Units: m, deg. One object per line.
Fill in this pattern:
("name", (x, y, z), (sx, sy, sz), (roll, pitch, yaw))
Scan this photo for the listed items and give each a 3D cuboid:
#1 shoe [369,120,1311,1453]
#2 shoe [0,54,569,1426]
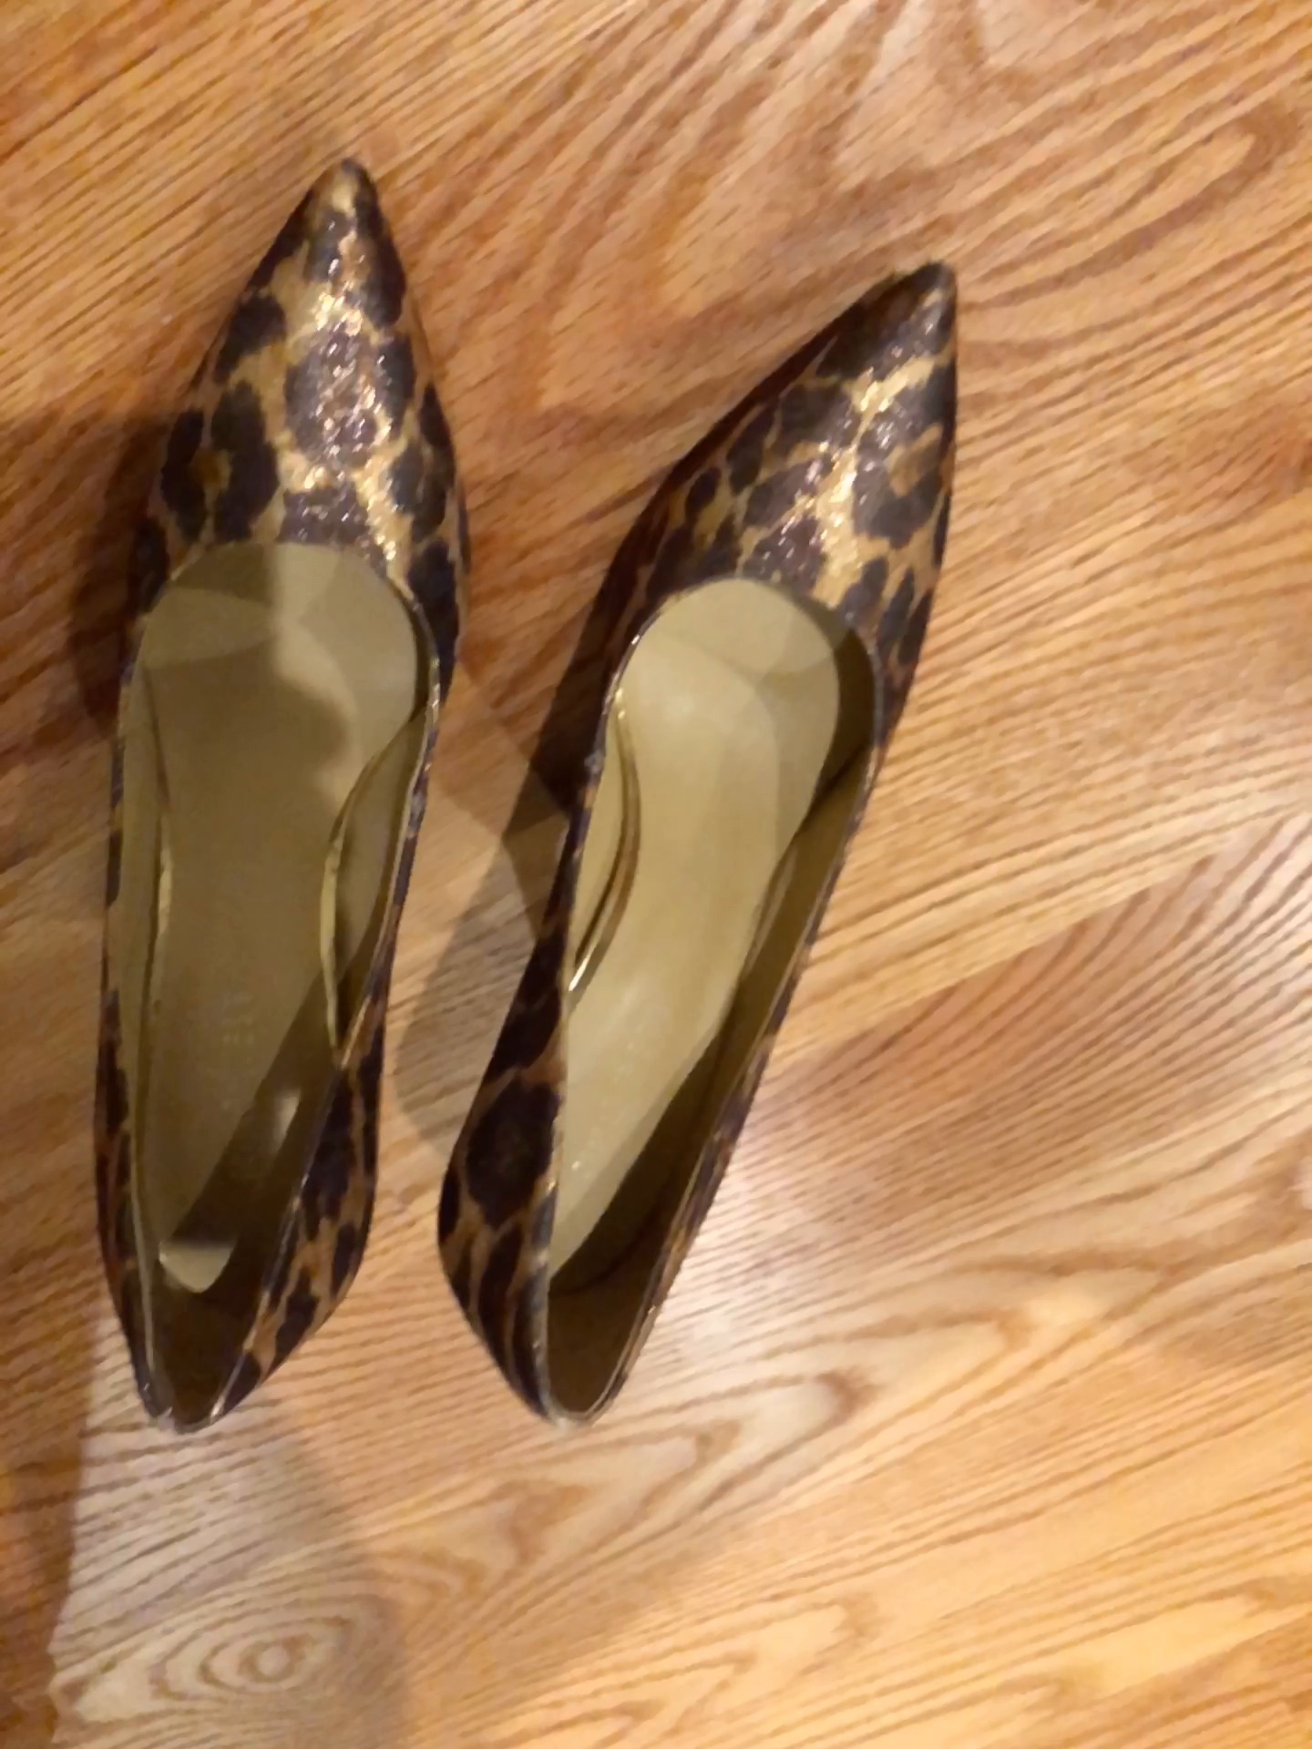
("shoe", (0.022, -0.022, 0.299), (0.083, 0.144, 0.219), (18, 115, -14))
("shoe", (-0.074, -0.028, 0.288), (0.083, 0.144, 0.219), (6, 117, -8))
